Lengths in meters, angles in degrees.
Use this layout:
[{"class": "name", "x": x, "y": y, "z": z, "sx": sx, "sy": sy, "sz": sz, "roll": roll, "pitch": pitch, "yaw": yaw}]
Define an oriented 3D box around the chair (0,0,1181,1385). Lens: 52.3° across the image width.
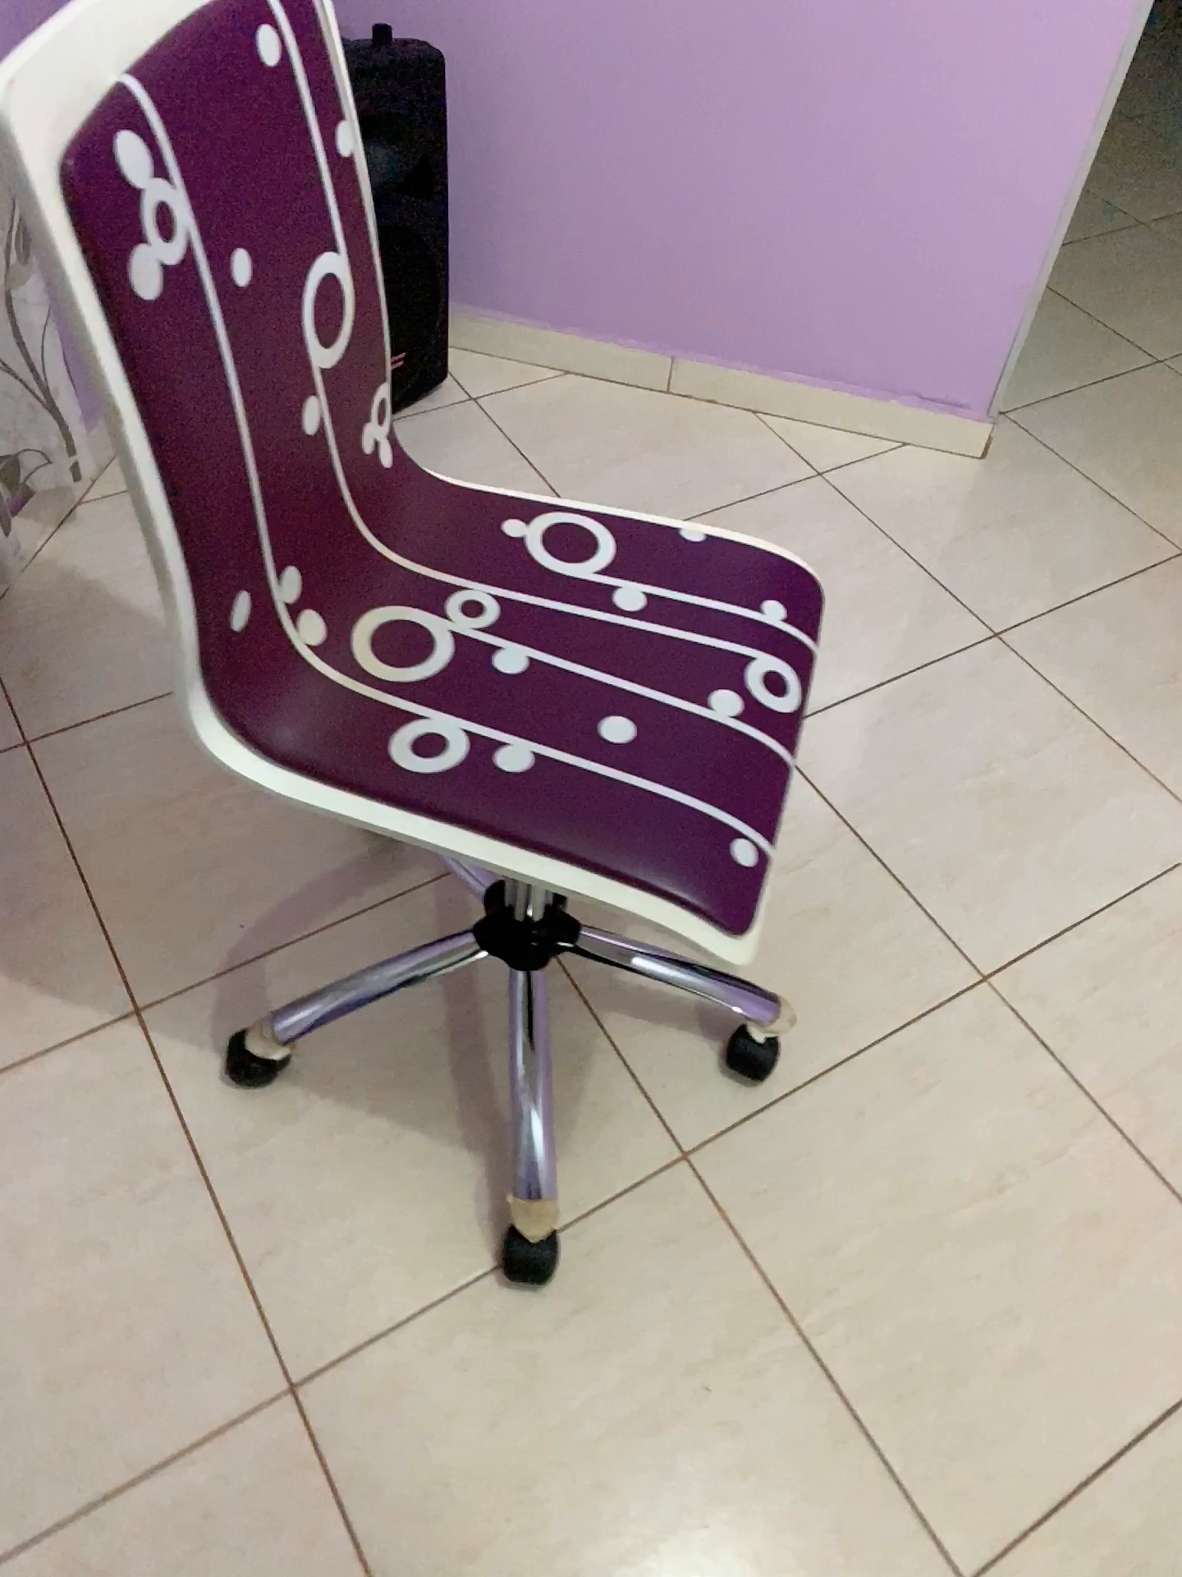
[{"class": "chair", "x": -0.044, "y": -0.077, "z": 1.032, "sx": 0.620, "sy": 1.006, "sz": 0.691, "roll": 16, "pitch": 51, "yaw": 7}]
